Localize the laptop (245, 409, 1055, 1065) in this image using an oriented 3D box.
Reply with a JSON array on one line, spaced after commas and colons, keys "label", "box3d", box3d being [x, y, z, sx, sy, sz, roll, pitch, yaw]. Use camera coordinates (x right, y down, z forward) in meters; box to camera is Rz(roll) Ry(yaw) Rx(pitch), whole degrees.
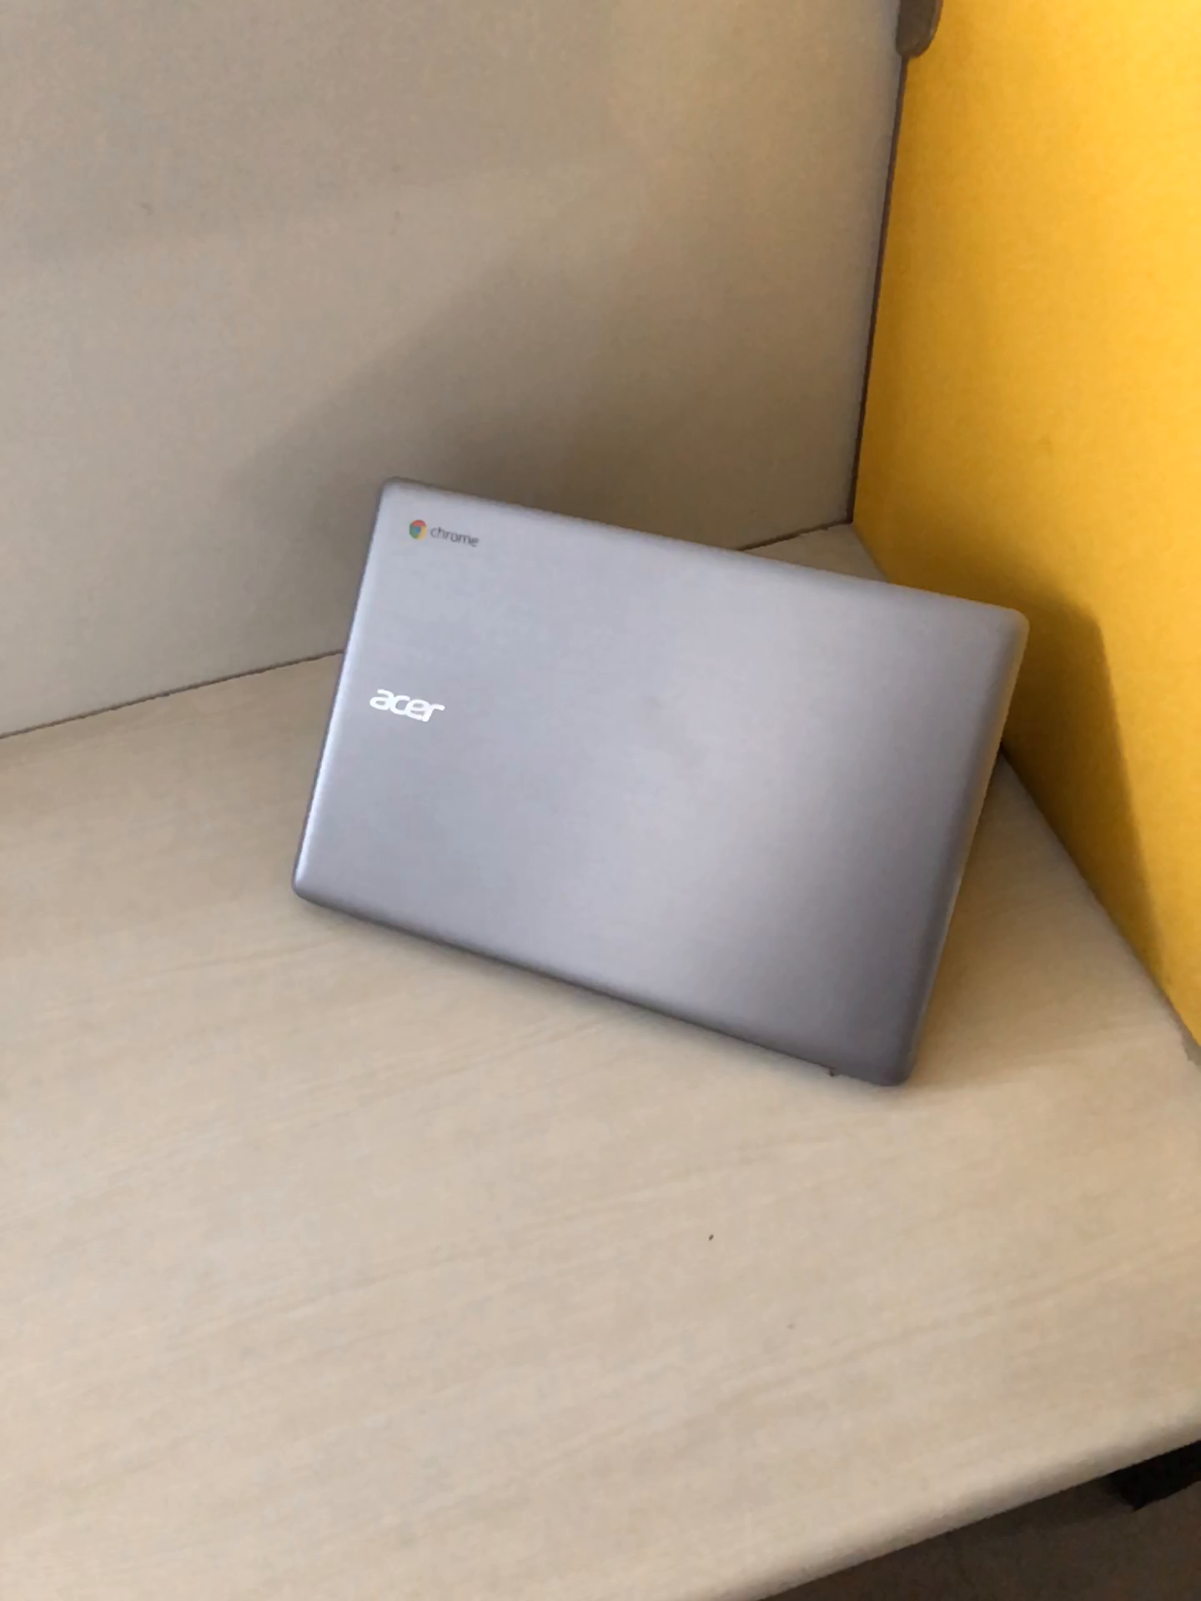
[{"label": "laptop", "box3d": [0.032, -0.043, 0.662, 0.315, 0.135, 0.222, 16, 56, 15]}]
